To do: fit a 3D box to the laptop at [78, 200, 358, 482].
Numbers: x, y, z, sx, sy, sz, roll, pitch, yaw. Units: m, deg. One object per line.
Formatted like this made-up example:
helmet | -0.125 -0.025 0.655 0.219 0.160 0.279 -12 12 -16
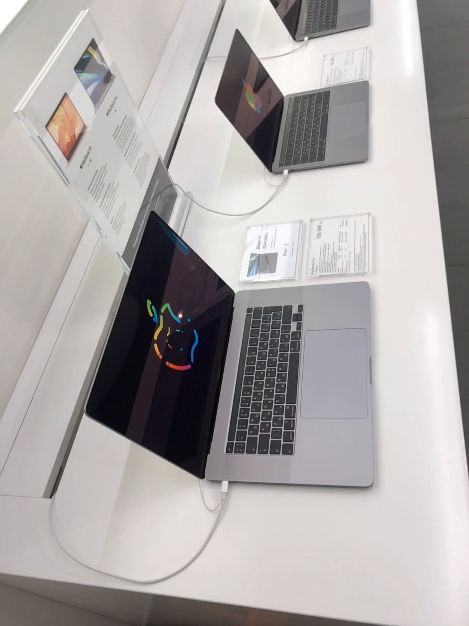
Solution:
laptop | 0.010 0.042 0.755 0.309 0.209 0.329 -3 52 17
